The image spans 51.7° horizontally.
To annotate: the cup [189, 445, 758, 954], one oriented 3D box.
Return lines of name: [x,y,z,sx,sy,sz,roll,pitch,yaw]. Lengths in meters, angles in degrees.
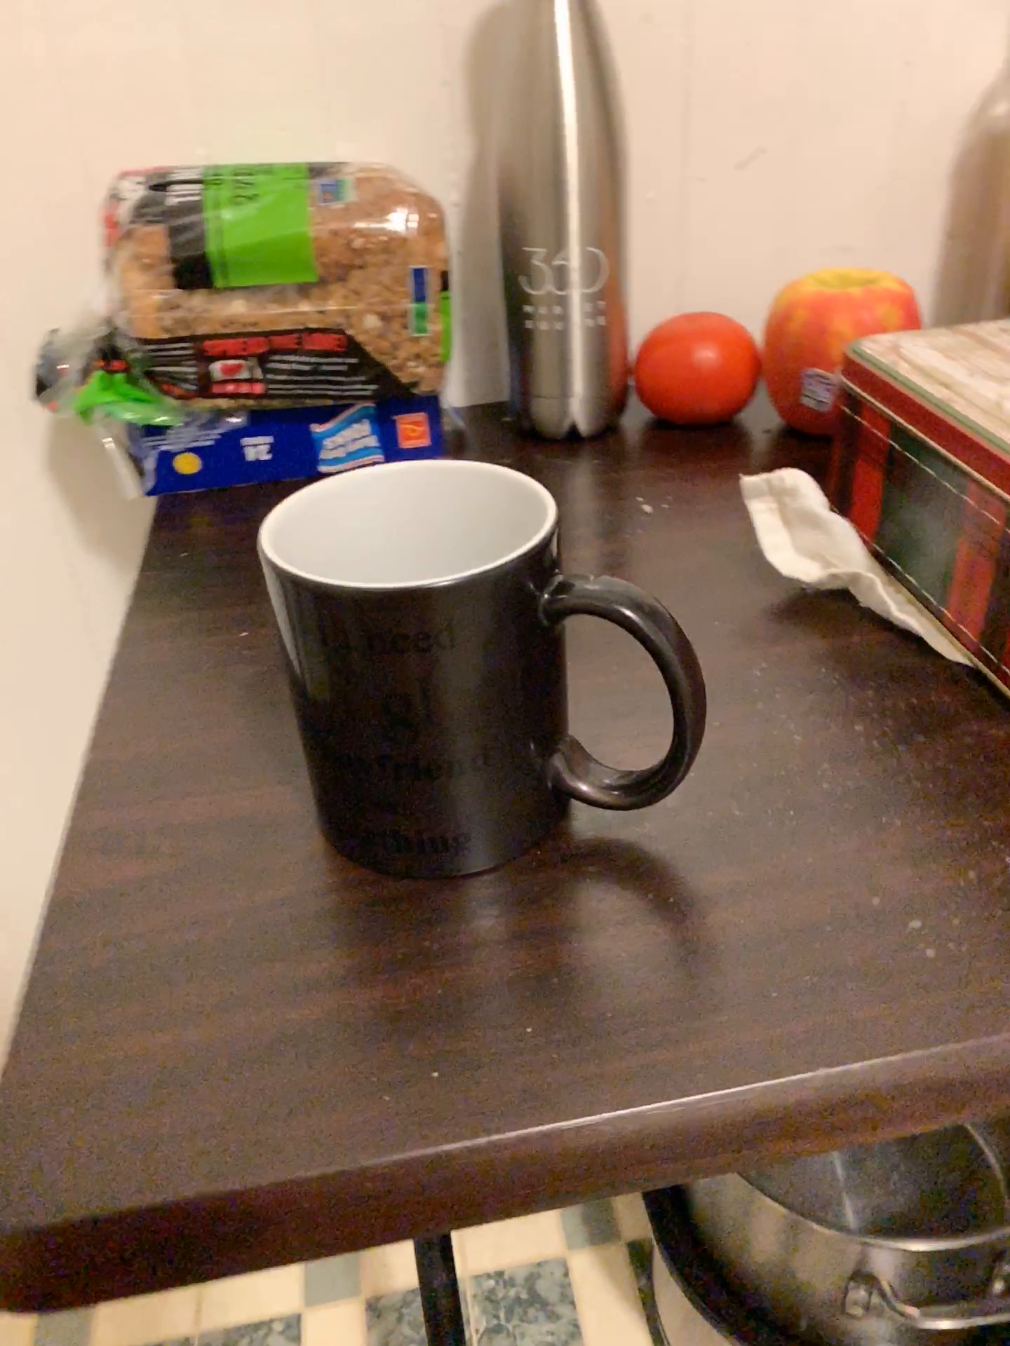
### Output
cup: [-0.003,0.001,0.303,0.130,0.099,0.080,10,36,21]
